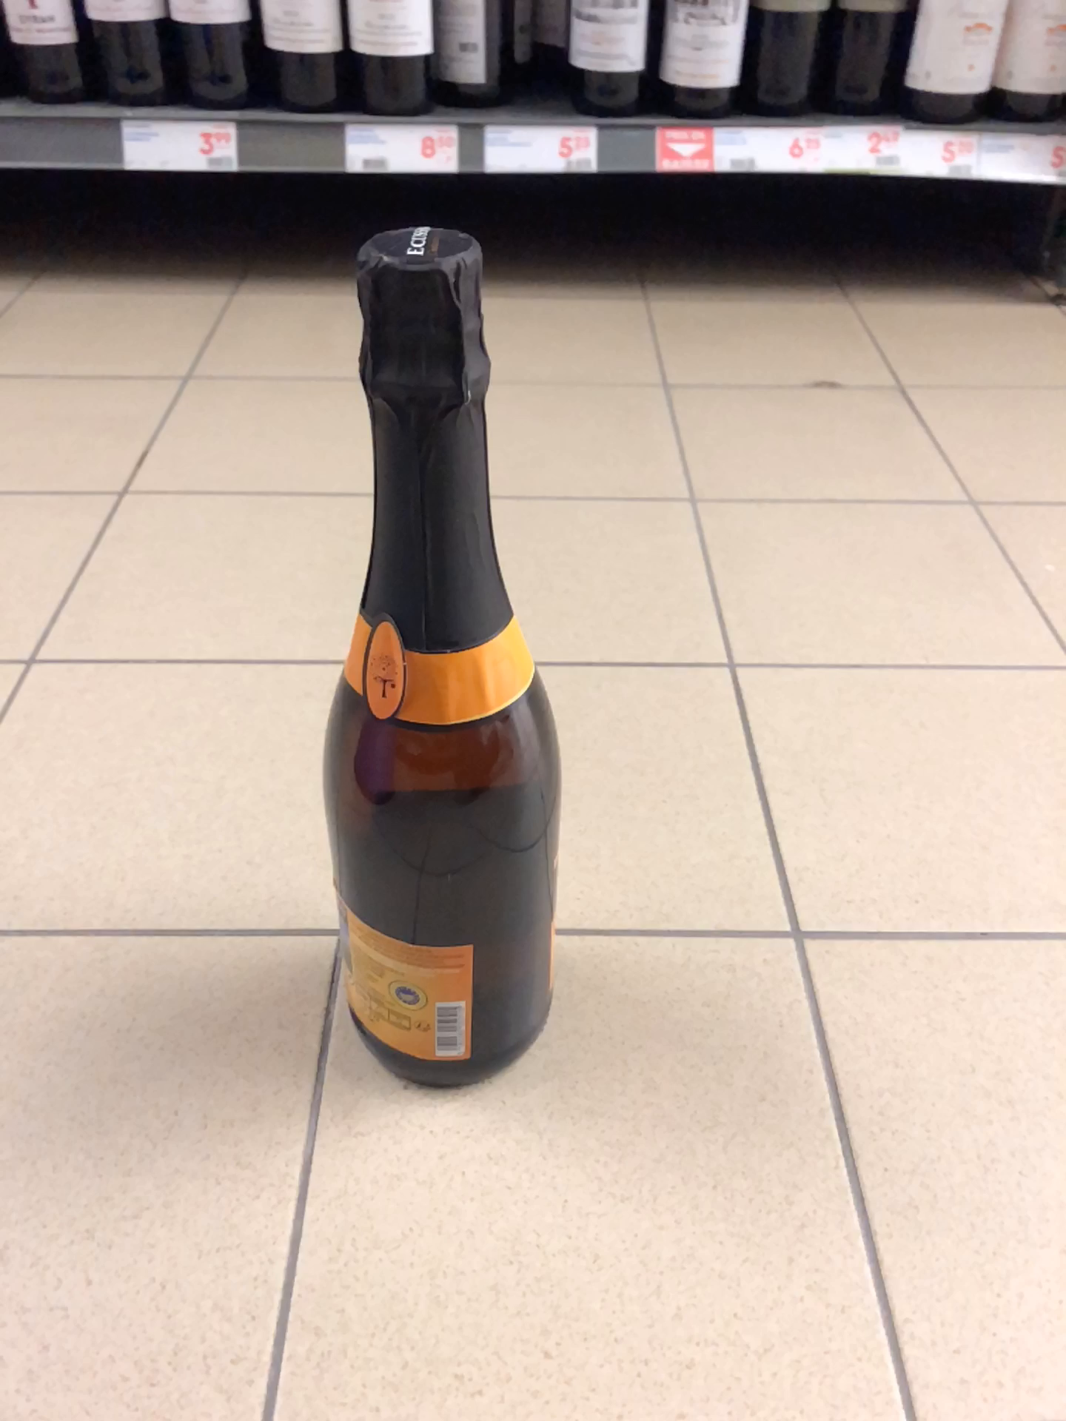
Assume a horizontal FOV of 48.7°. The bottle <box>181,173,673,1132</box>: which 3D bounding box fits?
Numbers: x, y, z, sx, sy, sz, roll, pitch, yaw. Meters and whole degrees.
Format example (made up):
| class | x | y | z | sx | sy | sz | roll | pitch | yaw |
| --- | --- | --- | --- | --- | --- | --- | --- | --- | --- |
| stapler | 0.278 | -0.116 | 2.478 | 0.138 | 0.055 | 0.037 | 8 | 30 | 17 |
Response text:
| class | x | y | z | sx | sy | sz | roll | pitch | yaw |
| --- | --- | --- | --- | --- | --- | --- | --- | --- | --- |
| bottle | -0.030 | -0.003 | 0.390 | 0.090 | 0.298 | 0.090 | 1 | 38 | -1 |
